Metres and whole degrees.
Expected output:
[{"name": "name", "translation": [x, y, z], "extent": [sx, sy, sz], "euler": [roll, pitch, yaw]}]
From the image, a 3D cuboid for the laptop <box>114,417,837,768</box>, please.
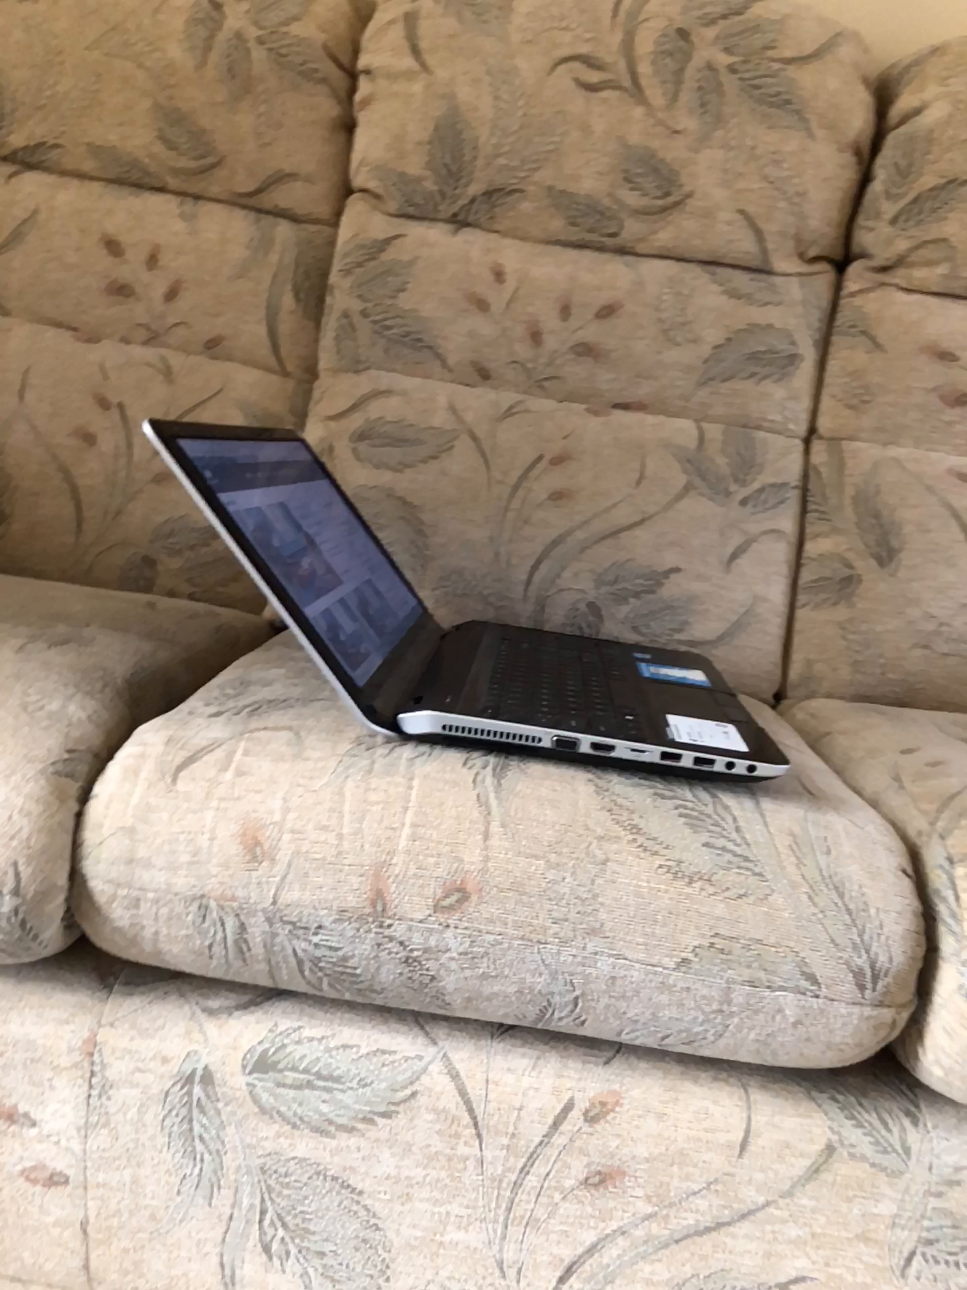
[{"name": "laptop", "translation": [0.004, -0.058, 0.818], "extent": [0.410, 0.151, 0.397], "euler": [8, 11, 2]}]
